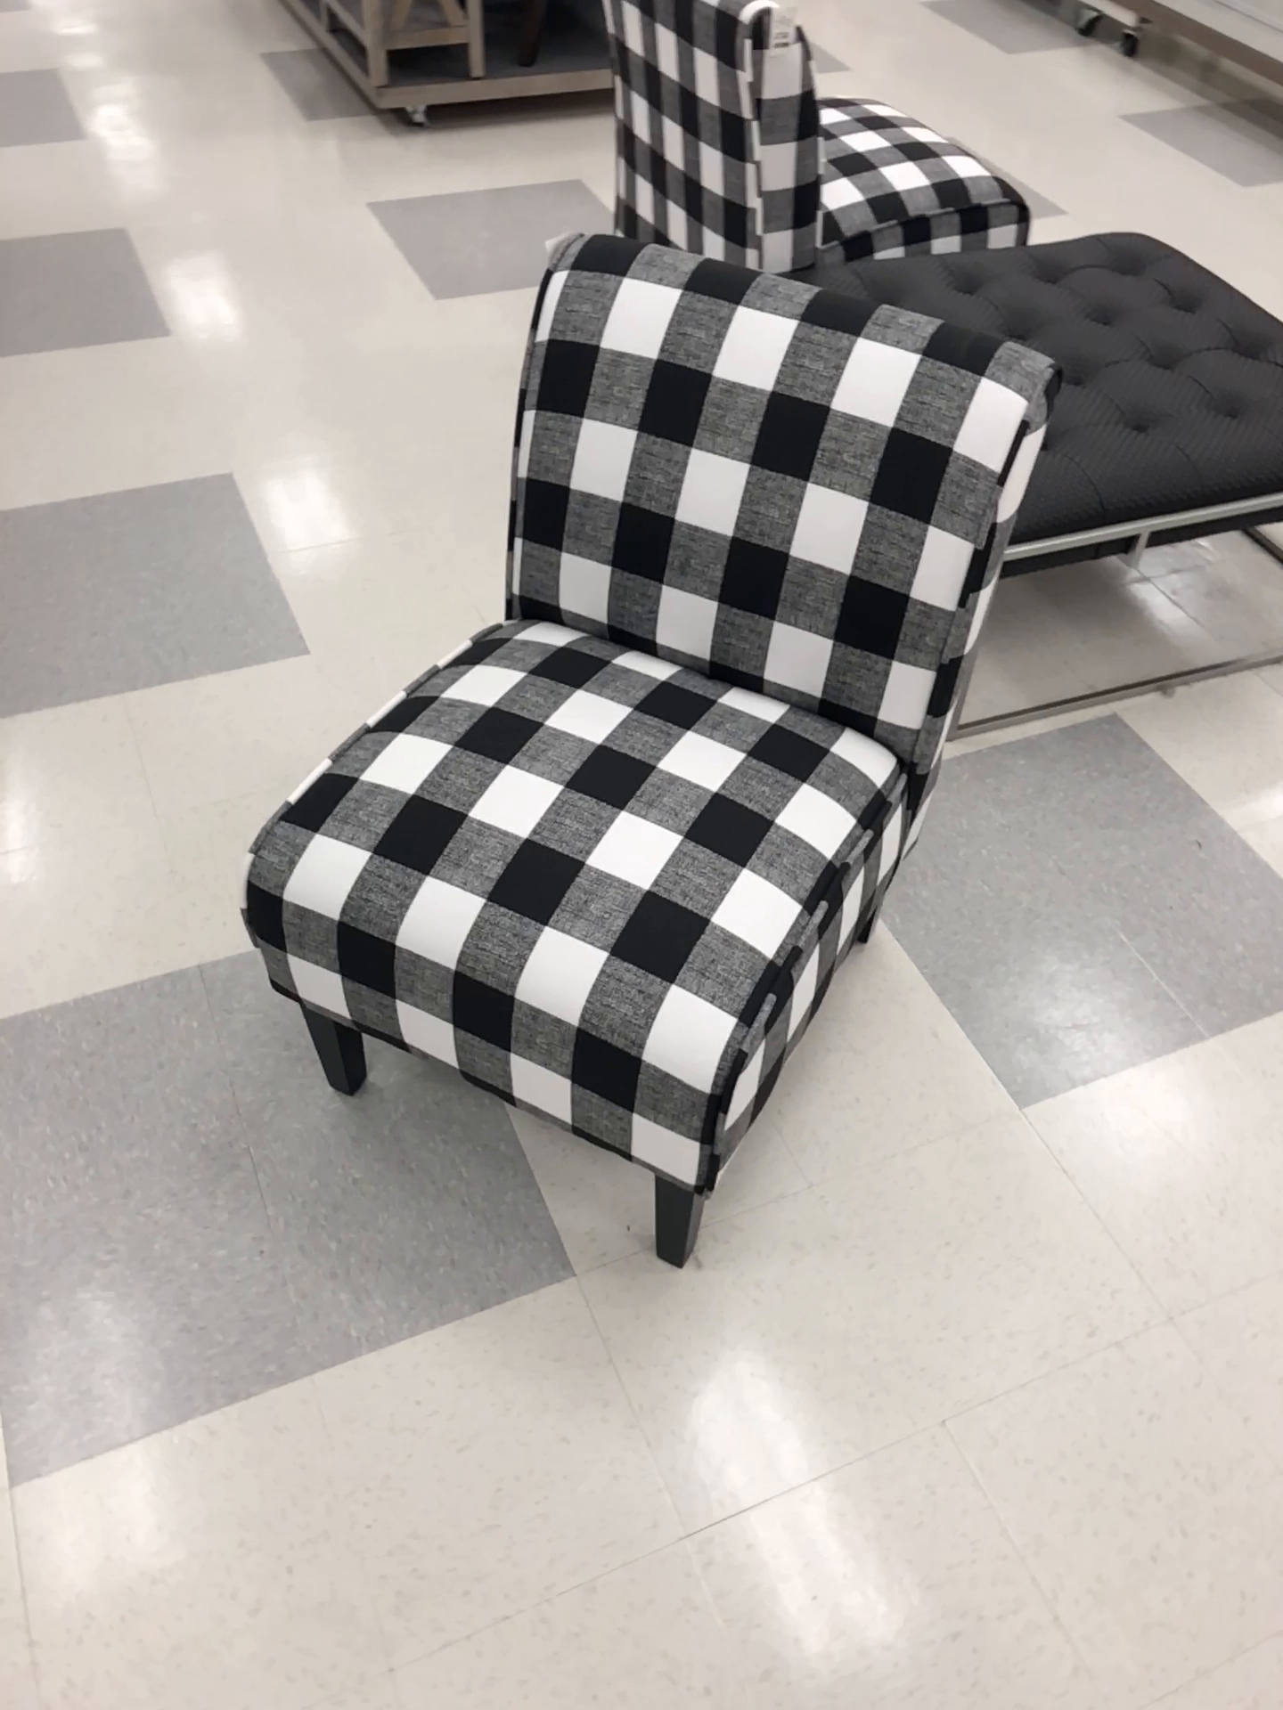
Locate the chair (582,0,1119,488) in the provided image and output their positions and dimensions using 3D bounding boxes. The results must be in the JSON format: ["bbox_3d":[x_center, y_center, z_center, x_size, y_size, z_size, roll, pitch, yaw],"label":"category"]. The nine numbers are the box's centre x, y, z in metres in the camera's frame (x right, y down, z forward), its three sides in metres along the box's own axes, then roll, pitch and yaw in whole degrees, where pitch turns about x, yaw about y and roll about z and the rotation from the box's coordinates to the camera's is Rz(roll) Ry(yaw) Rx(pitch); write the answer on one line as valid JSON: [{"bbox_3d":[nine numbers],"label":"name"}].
[{"bbox_3d":[0.340,-1.316,2.781,0.729,0.832,0.627,-15,48,-18],"label":"chair"}]

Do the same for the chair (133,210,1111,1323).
[{"bbox_3d":[0.009,-0.107,1.563,0.625,0.832,0.702,22,48,18],"label":"chair"}]
